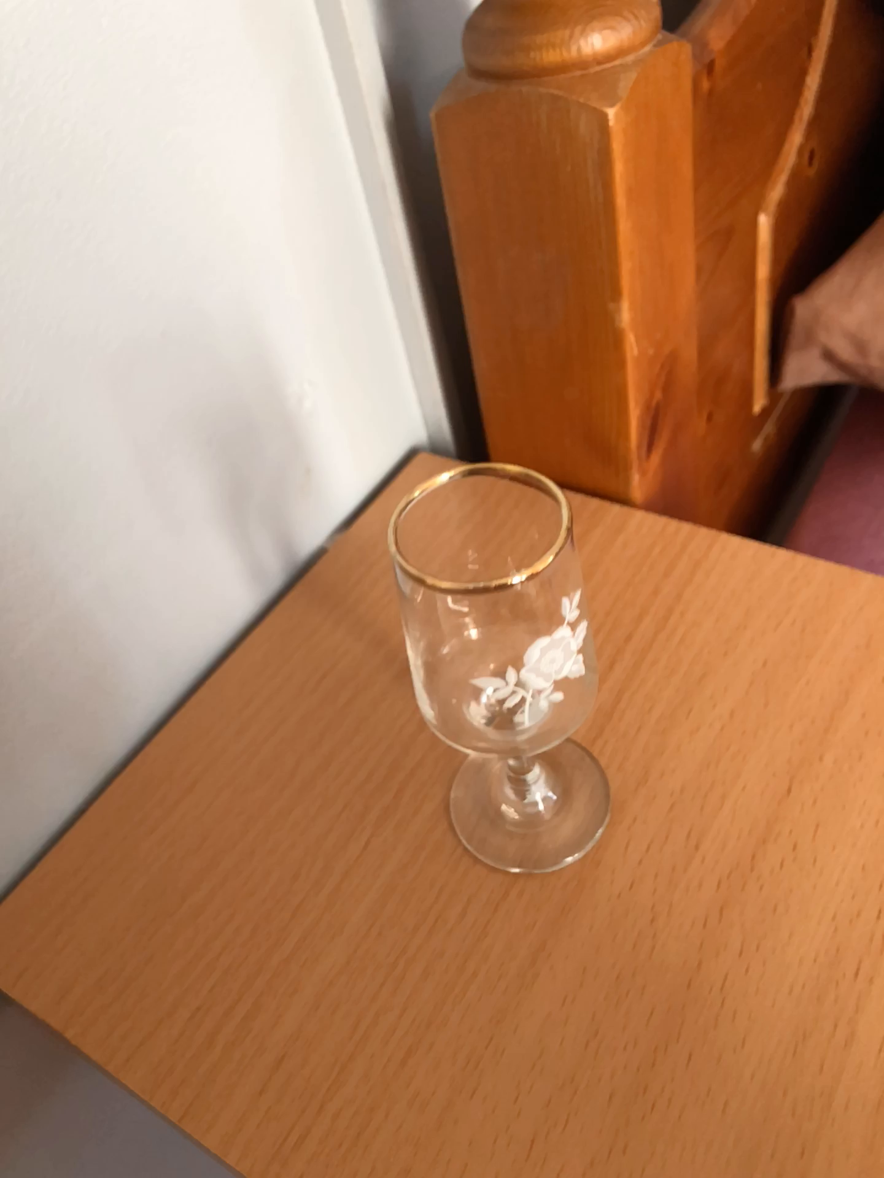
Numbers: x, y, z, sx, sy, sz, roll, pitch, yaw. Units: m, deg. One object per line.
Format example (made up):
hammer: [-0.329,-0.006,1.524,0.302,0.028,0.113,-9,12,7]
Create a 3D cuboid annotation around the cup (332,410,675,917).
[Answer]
cup: [0.020,0.022,0.250,0.052,0.107,0.056,-7,44,6]
